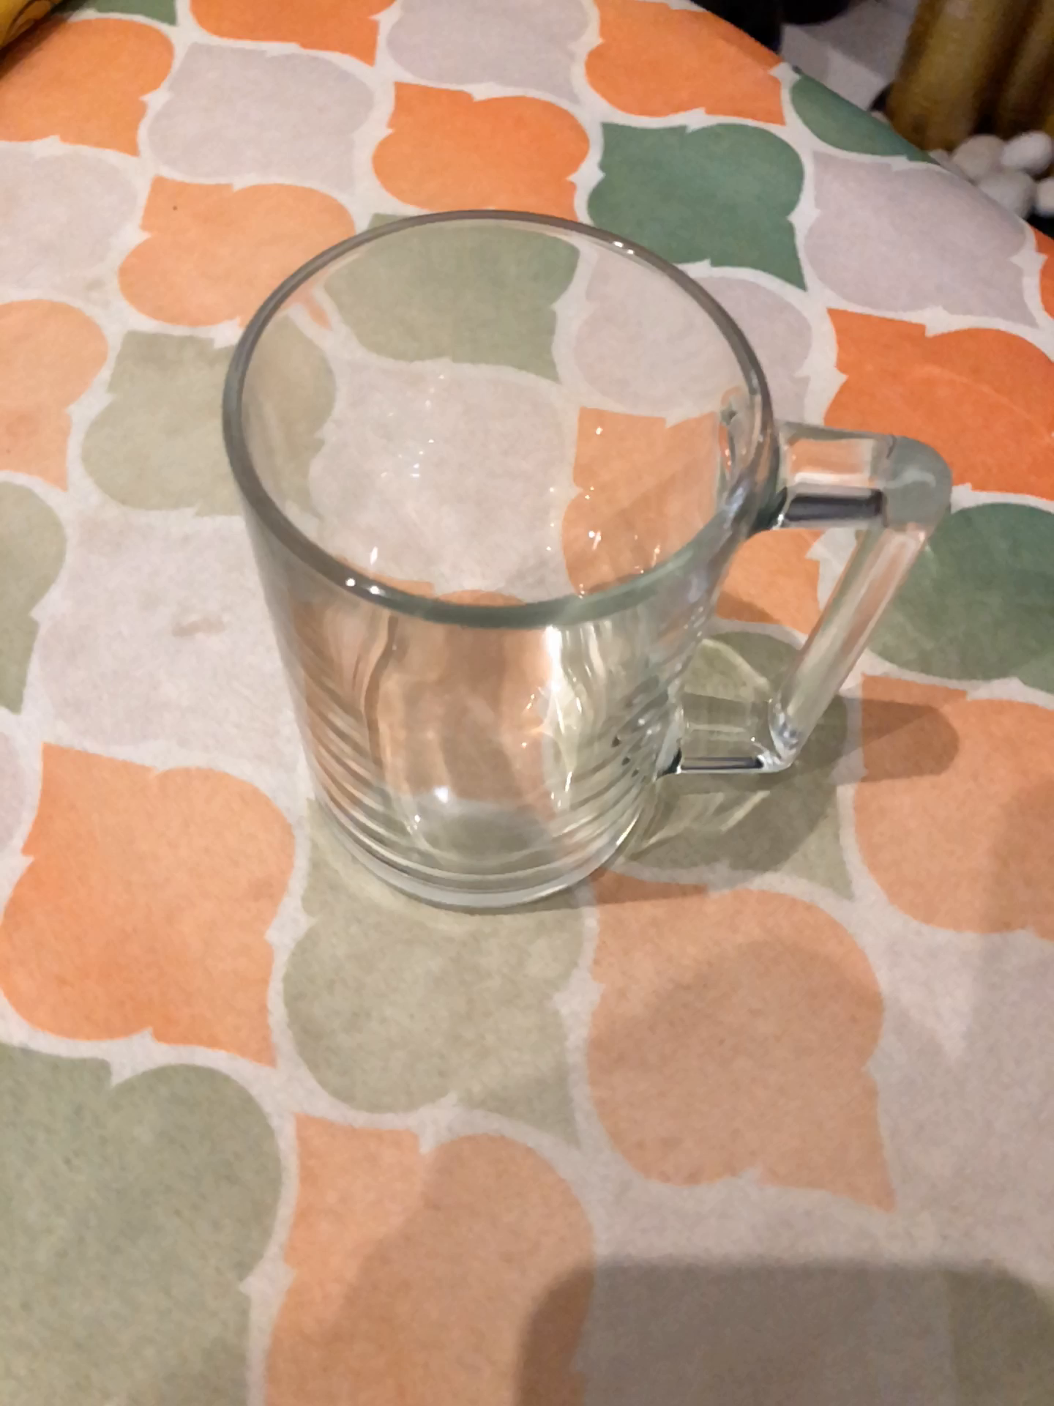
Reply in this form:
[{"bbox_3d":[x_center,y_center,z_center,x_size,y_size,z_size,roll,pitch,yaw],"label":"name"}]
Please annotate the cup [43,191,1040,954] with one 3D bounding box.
[{"bbox_3d":[0.002,-0.013,0.192,0.110,0.100,0.080,1,61,0],"label":"cup"}]
